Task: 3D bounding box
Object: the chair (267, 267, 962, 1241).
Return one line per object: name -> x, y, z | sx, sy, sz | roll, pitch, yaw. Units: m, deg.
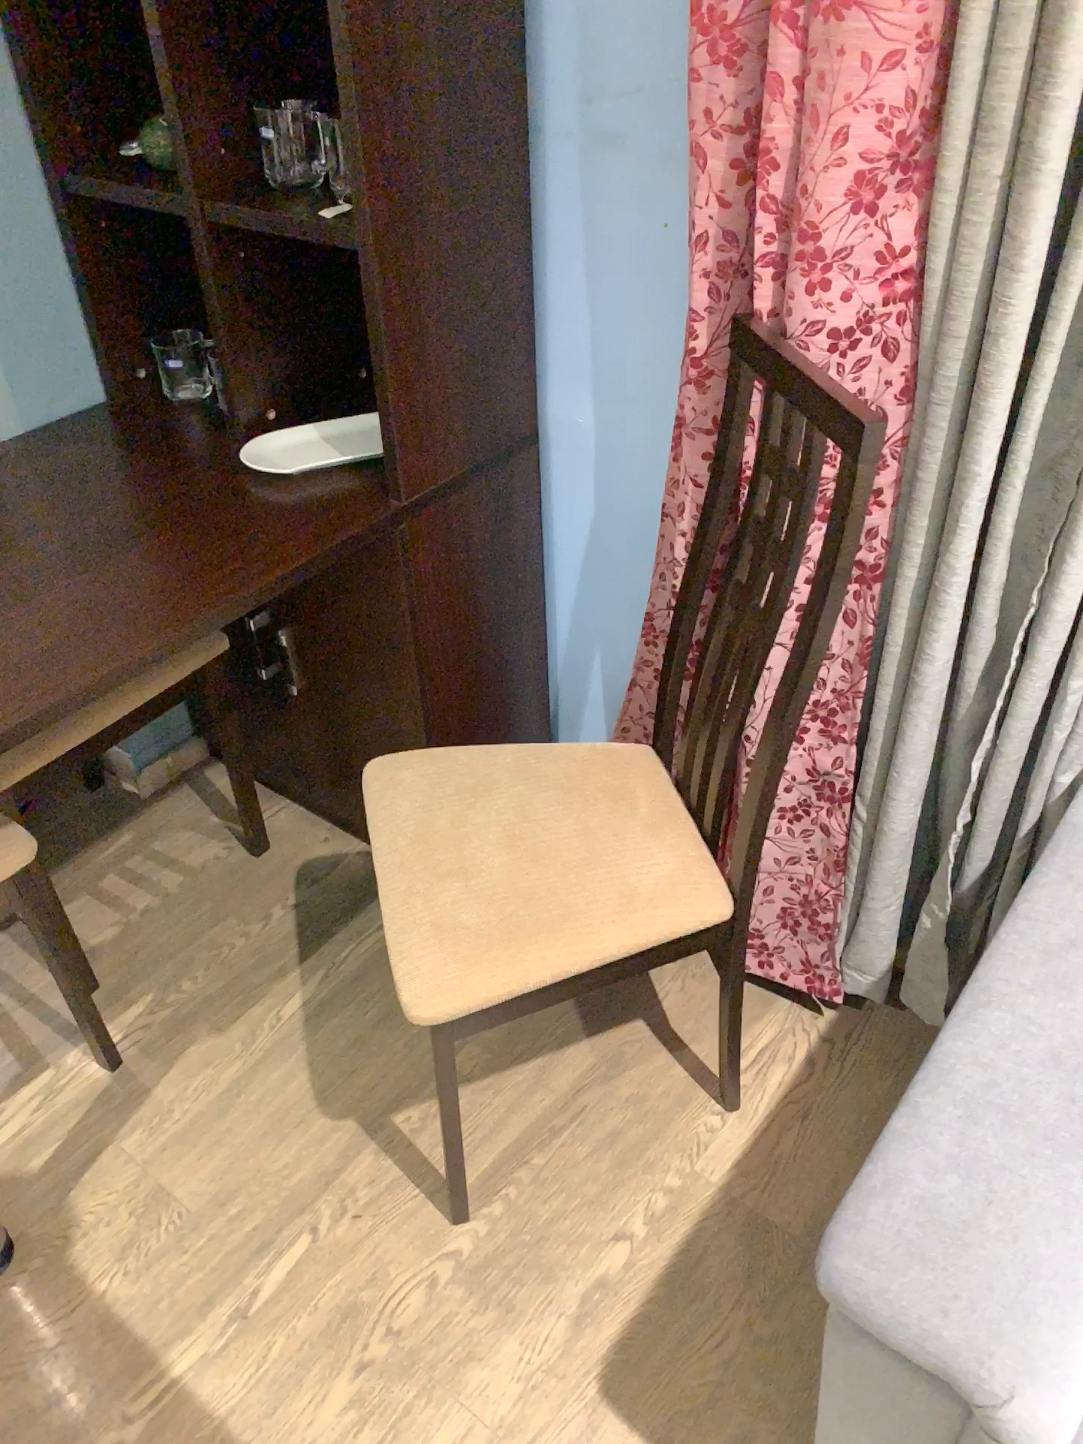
chair -> 0.036, 0.058, 1.330 | 0.510, 0.976, 0.532 | -11, 38, -11
